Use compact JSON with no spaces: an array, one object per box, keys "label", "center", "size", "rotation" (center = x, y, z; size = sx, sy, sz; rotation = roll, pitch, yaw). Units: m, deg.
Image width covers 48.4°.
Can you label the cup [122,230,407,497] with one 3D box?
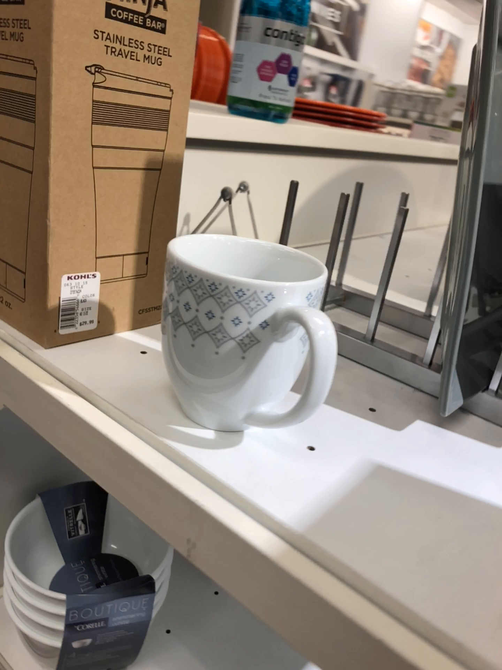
[{"label":"cup","center":[-0.002,0.003,0.338],"size":[0.099,0.099,0.136],"rotation":[-10,27,-36]}]
